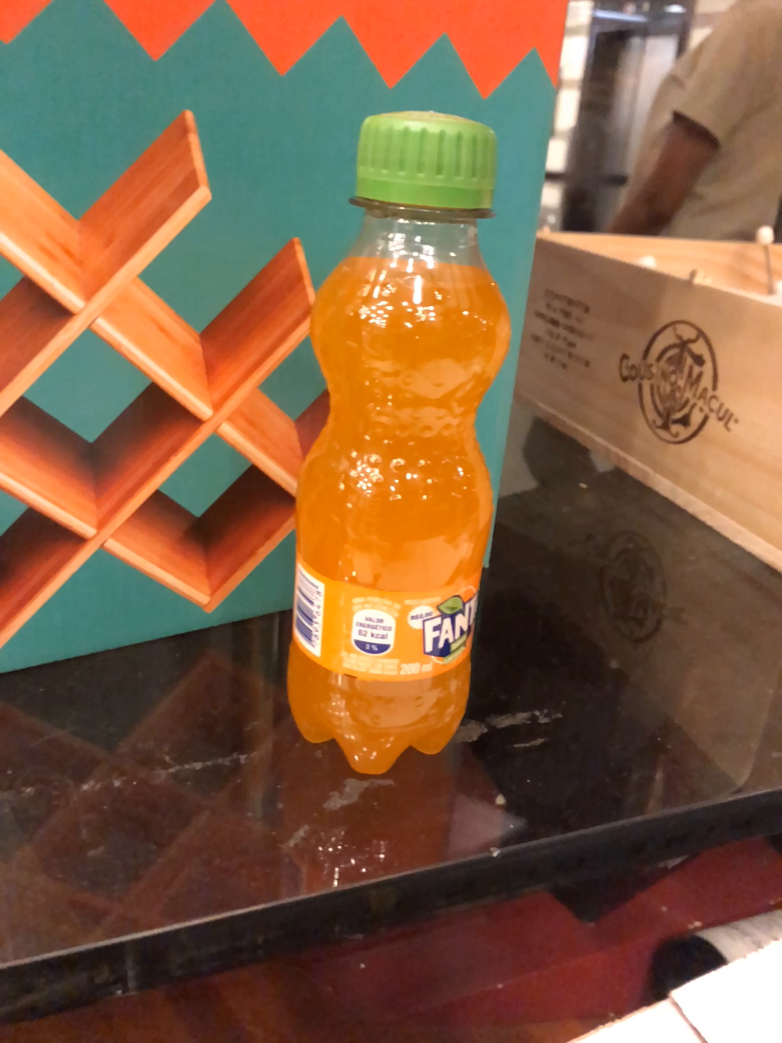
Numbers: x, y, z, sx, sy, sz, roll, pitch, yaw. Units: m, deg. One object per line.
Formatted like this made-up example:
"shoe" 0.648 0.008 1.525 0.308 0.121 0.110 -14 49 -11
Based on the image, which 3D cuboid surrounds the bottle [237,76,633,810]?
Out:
"bottle" 0.004 -0.020 0.220 0.060 0.159 0.060 4 24 -2
